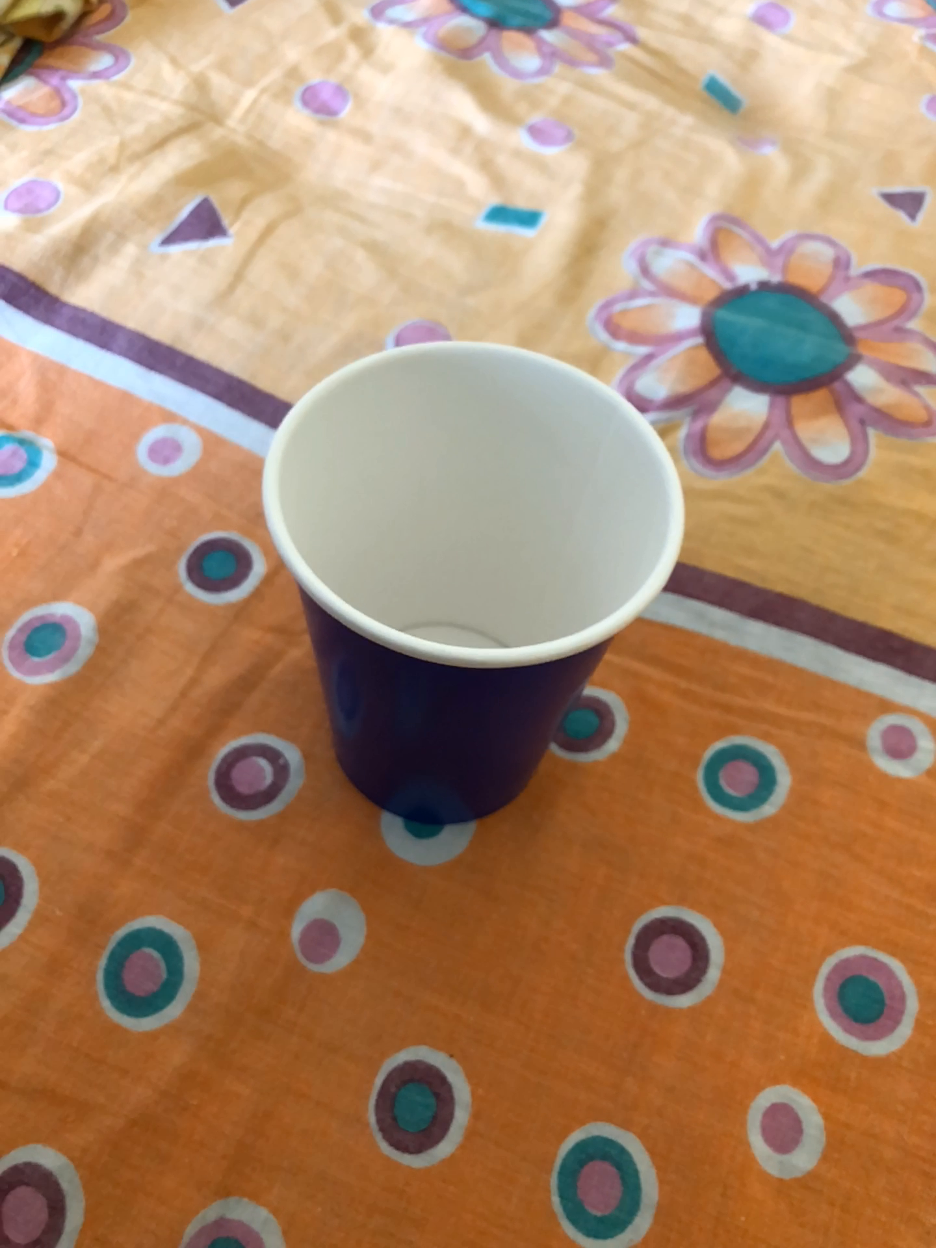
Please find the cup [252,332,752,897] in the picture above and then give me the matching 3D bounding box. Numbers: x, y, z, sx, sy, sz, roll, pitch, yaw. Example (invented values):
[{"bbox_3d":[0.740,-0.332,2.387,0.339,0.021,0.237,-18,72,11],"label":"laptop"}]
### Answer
[{"bbox_3d":[-0.002,-0.001,0.232,0.080,0.090,0.080,3,52,-4],"label":"cup"}]
